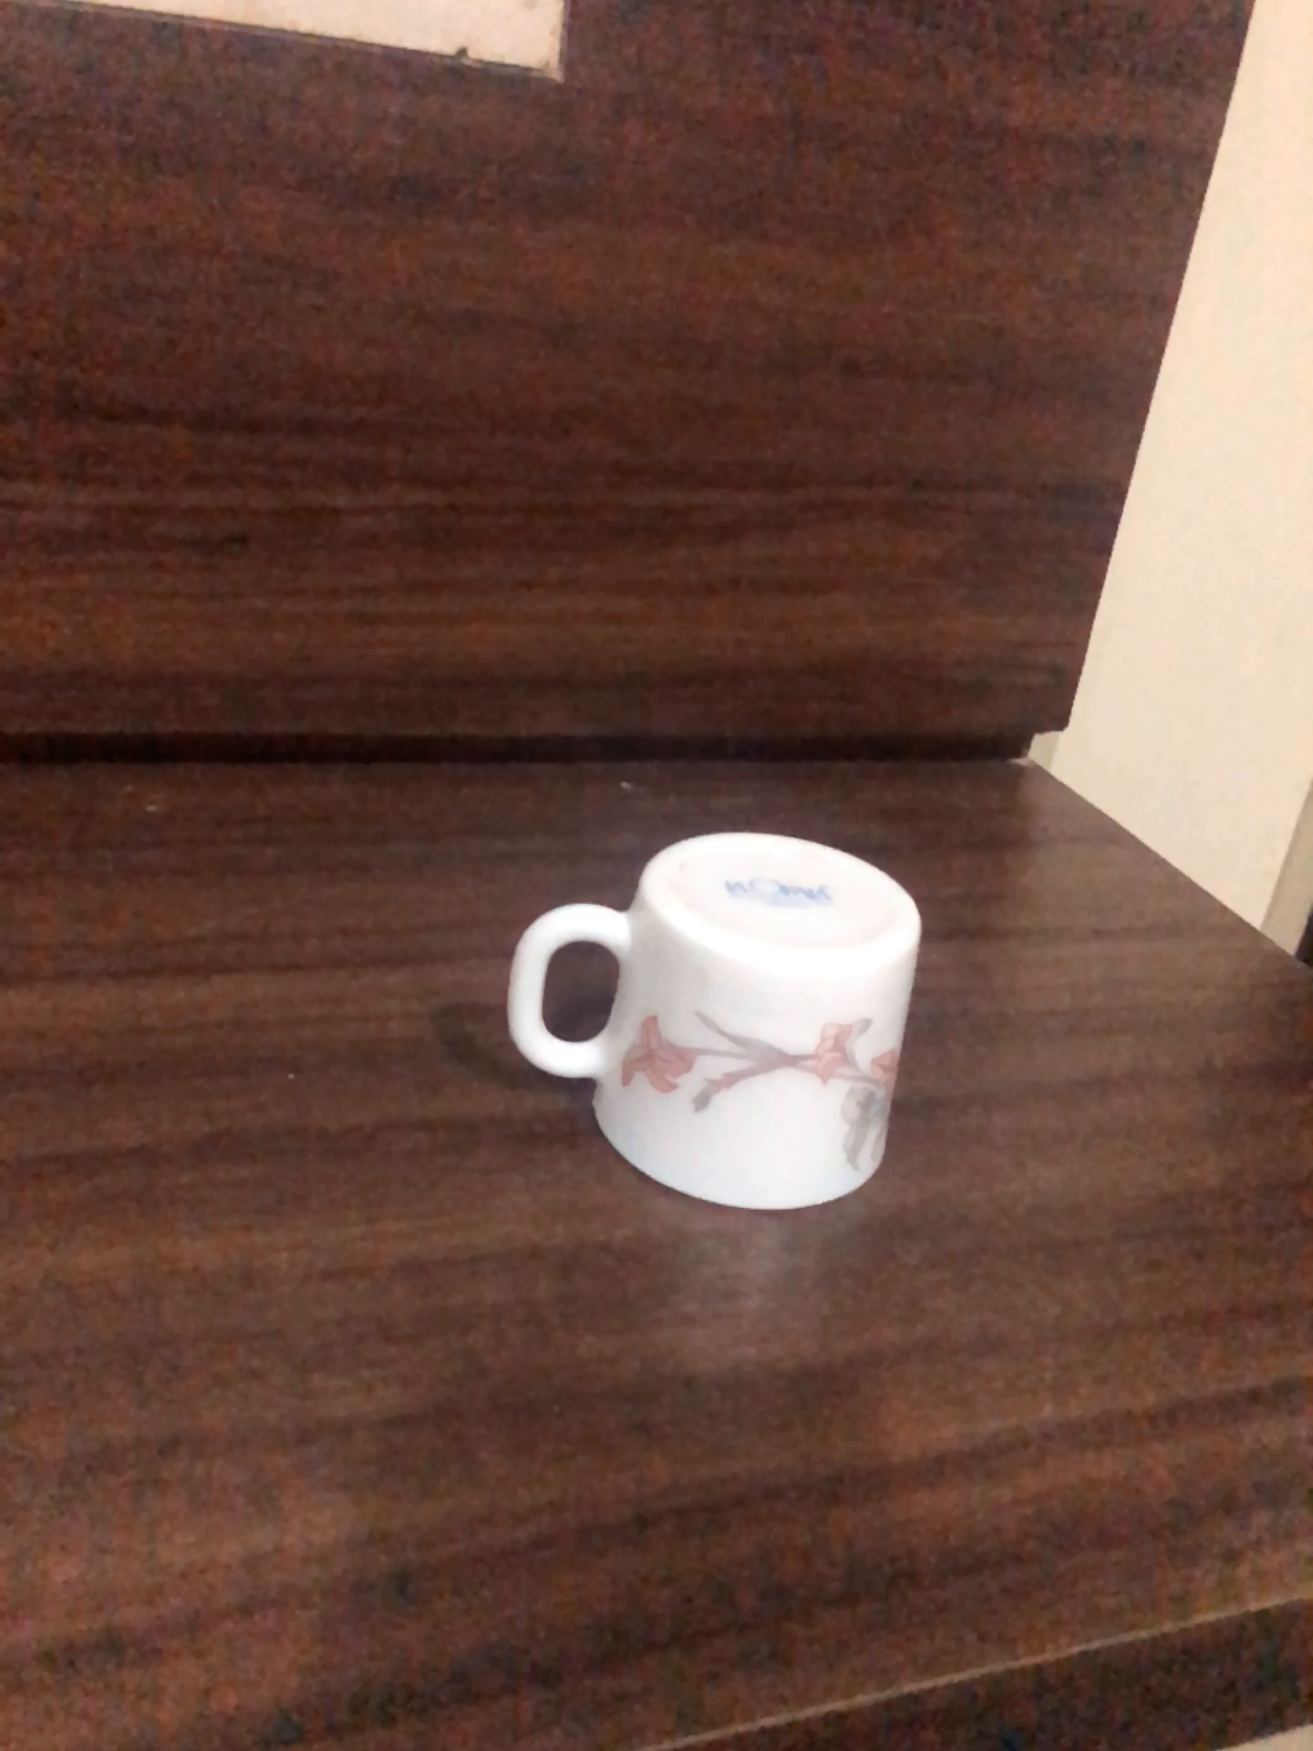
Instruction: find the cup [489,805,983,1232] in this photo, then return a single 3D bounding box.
[{"bbox_3d":[0.012,0.031,0.324,0.090,0.070,0.060,2,30,-12],"label":"cup"}]
